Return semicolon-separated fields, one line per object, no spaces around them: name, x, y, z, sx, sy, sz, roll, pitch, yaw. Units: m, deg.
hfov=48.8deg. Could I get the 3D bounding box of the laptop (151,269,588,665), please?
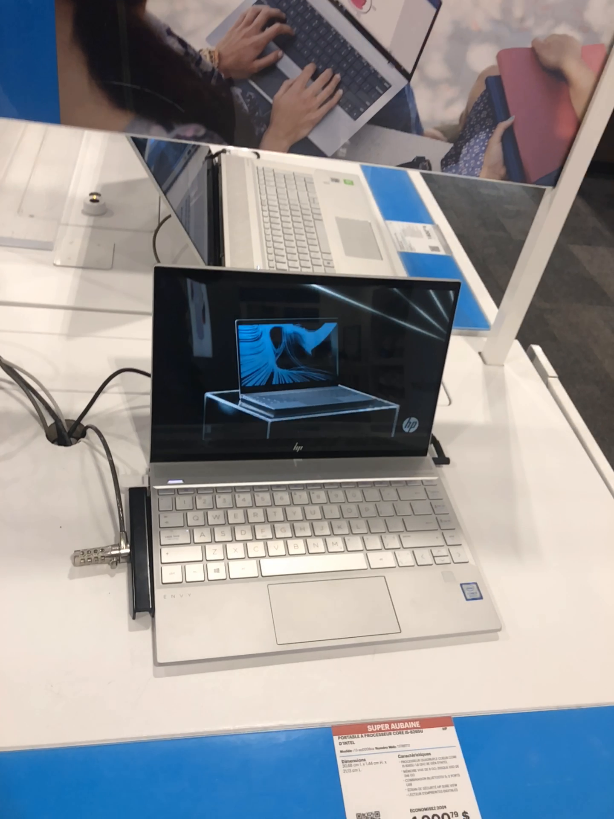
laptop;0.019;0.036;0.602;0.298;0.182;0.273;0;43;-16
